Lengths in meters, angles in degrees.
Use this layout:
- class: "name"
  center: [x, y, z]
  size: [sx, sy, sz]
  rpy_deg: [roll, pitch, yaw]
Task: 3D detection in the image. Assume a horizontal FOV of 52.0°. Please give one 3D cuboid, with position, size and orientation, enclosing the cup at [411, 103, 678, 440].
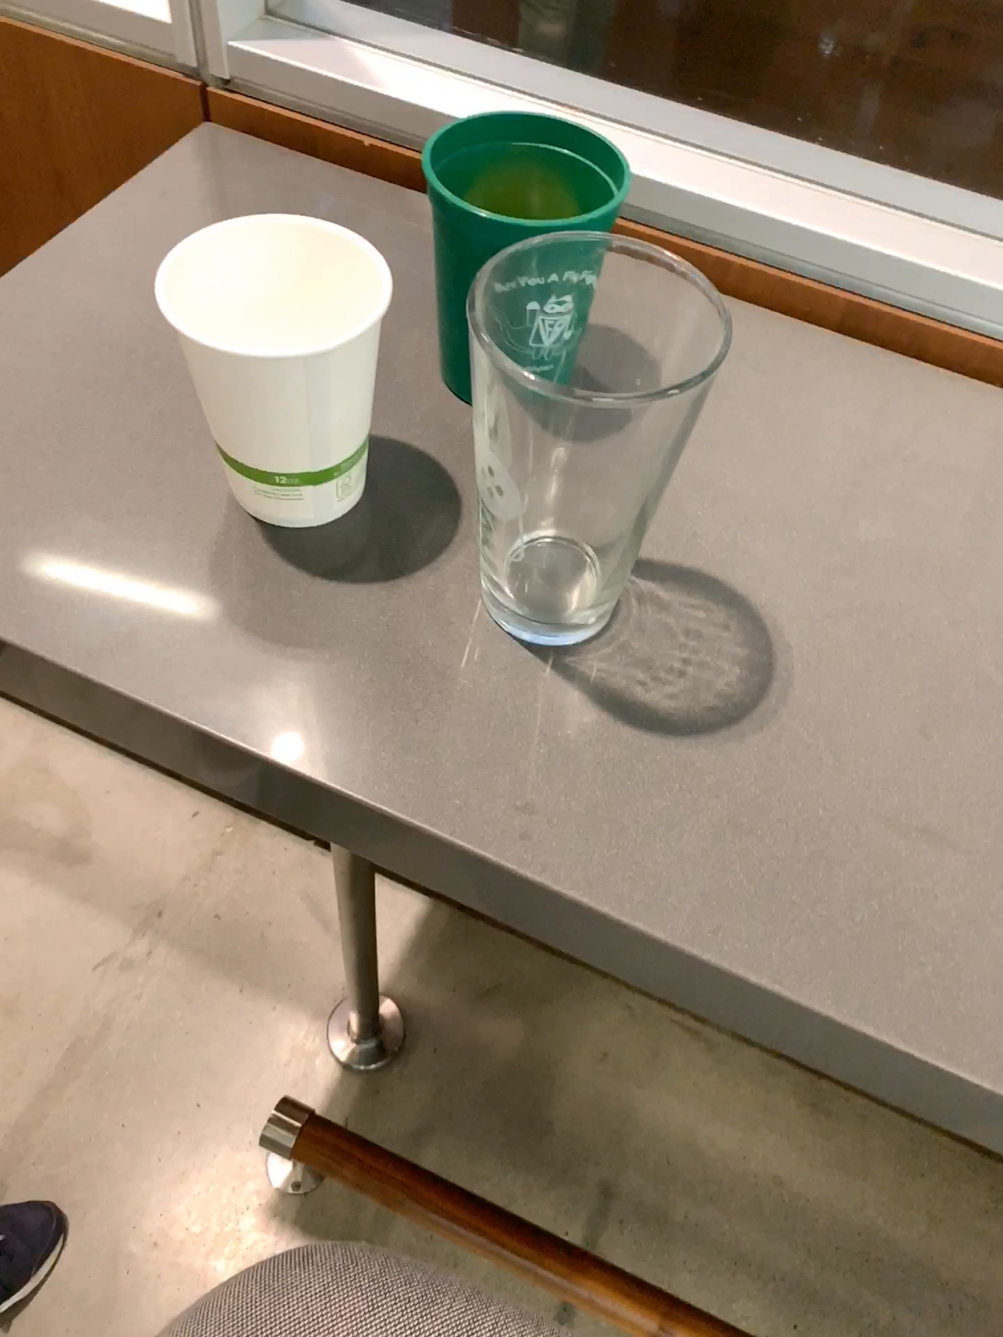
- class: "cup"
  center: [0.013, -0.185, 0.482]
  size: [0.090, 0.110, 0.090]
  rpy_deg: [3, 54, -4]

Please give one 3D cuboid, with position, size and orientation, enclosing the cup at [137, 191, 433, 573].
- class: "cup"
  center: [-0.088, -0.119, 0.432]
  size: [0.090, 0.110, 0.090]
  rpy_deg: [3, 54, -4]

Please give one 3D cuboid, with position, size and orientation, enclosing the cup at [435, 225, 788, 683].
- class: "cup"
  center: [0.029, -0.076, 0.388]
  size: [0.090, 0.139, 0.090]
  rpy_deg: [3, 54, -4]
